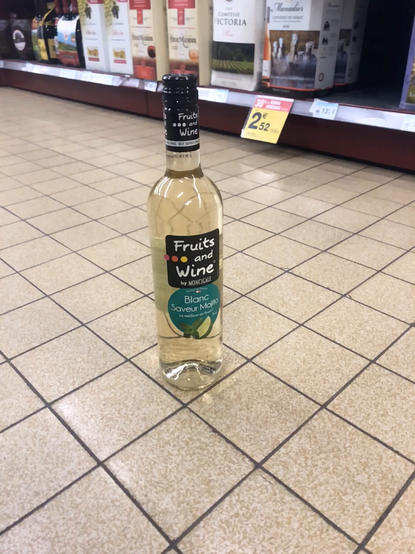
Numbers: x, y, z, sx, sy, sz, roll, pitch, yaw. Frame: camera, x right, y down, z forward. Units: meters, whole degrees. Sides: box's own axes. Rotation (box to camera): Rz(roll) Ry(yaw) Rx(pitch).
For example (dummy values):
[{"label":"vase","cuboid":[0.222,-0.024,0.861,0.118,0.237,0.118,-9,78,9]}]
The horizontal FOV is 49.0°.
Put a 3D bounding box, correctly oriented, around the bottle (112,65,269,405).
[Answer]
[{"label":"bottle","cuboid":[-0.015,-0.034,0.437,0.100,0.298,0.090,-13,31,-21]}]
